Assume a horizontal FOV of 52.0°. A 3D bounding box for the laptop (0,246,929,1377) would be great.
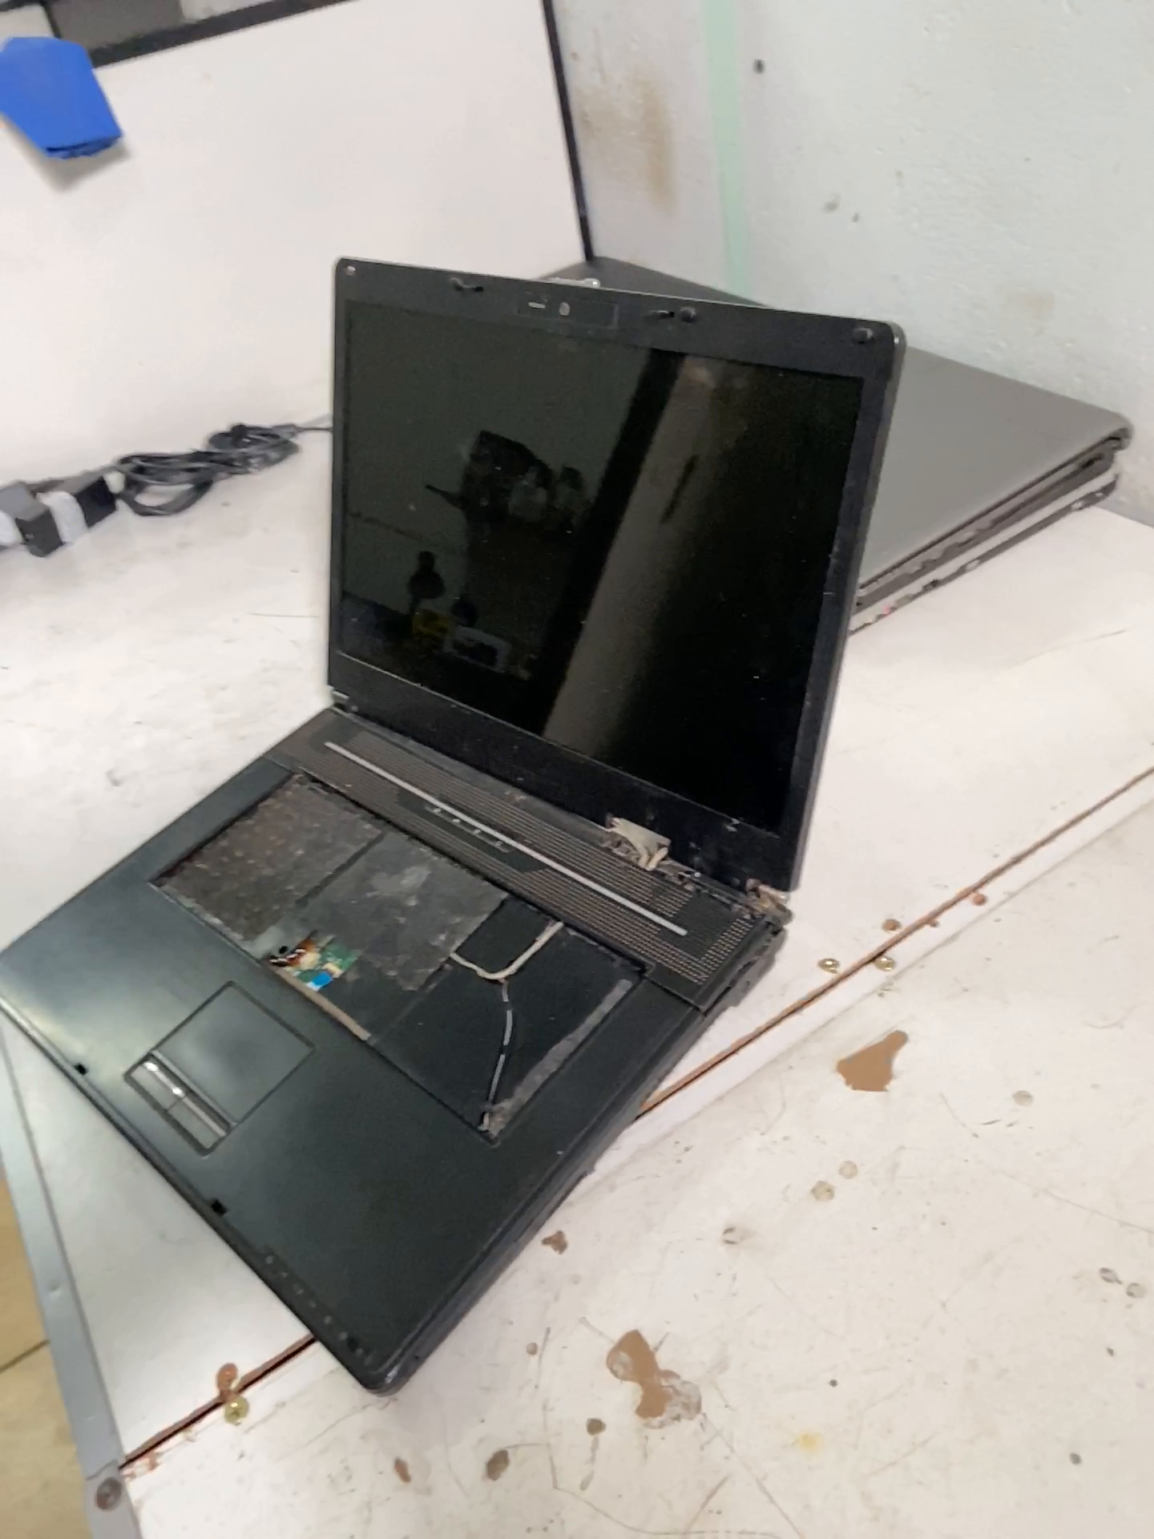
[{"bbox_3d":[-0.096,-0.037,0.547,0.345,0.235,0.380,24,54,38],"label":"laptop"}]
